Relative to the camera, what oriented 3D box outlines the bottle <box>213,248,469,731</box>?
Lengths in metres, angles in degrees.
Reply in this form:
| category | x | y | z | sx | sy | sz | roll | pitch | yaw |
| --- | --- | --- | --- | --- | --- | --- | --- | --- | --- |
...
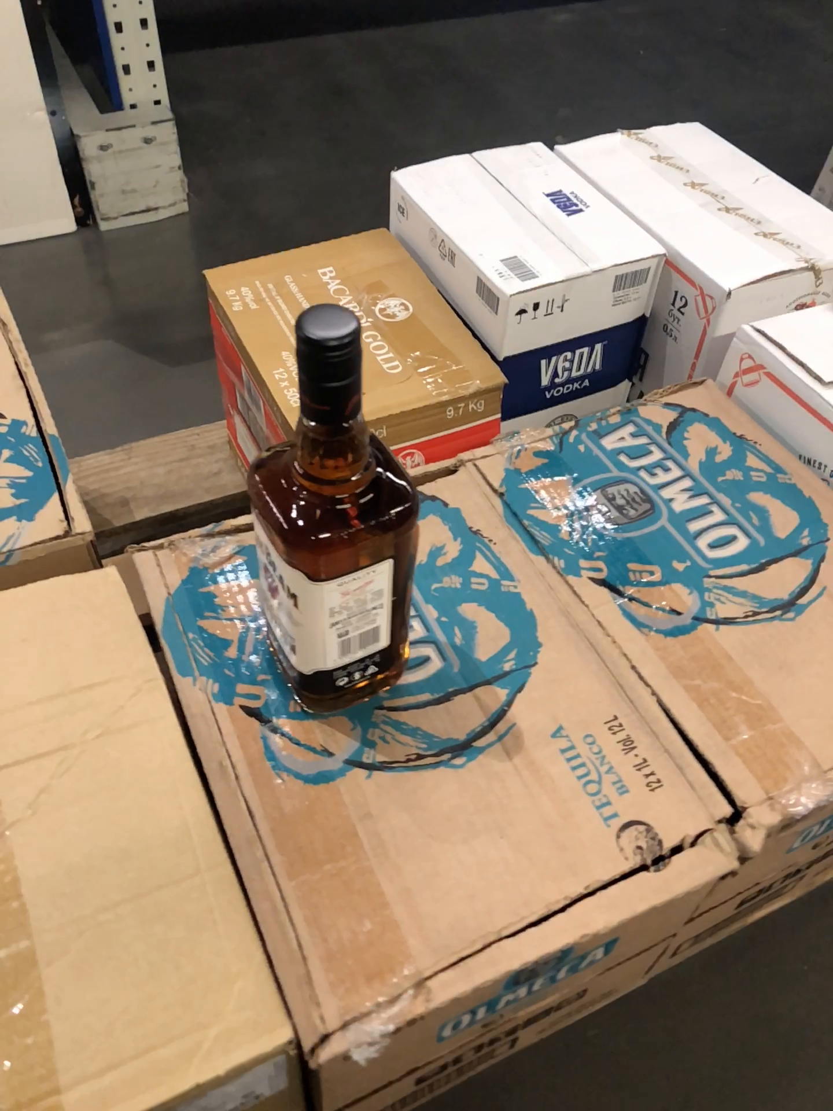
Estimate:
| category | x | y | z | sx | sy | sz | roll | pitch | yaw |
| --- | --- | --- | --- | --- | --- | --- | --- | --- | --- |
| bottle | -0.041 | -0.022 | 0.509 | 0.087 | 0.258 | 0.090 | 2 | 48 | -2 |
